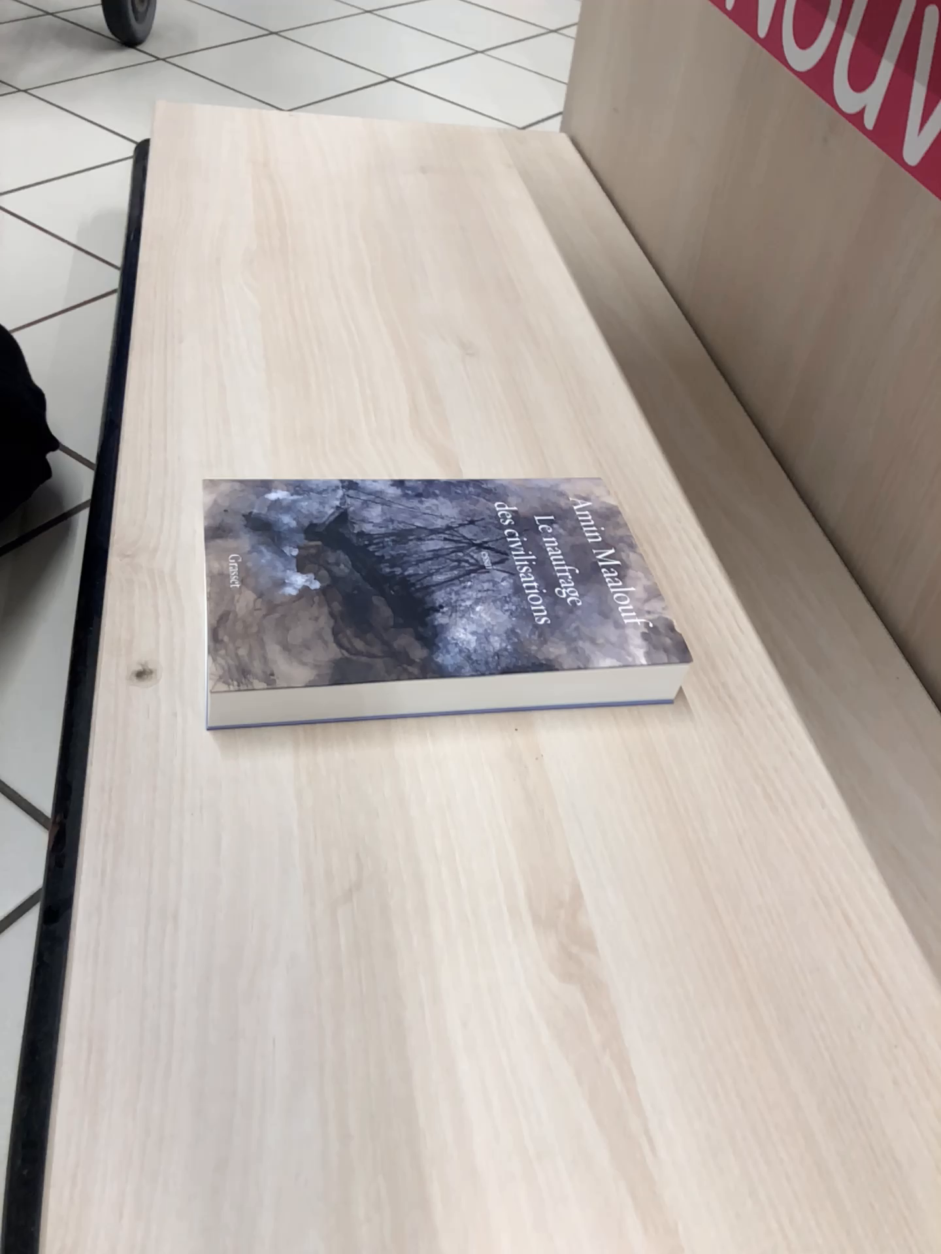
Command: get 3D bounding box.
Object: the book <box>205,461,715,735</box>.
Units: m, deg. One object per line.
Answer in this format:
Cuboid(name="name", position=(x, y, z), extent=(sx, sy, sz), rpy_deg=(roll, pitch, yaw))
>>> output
Cuboid(name="book", position=(-0.013, -0.022, 0.479), extent=(0.211, 0.026, 0.148), rpy_deg=(-2, 45, -13))
